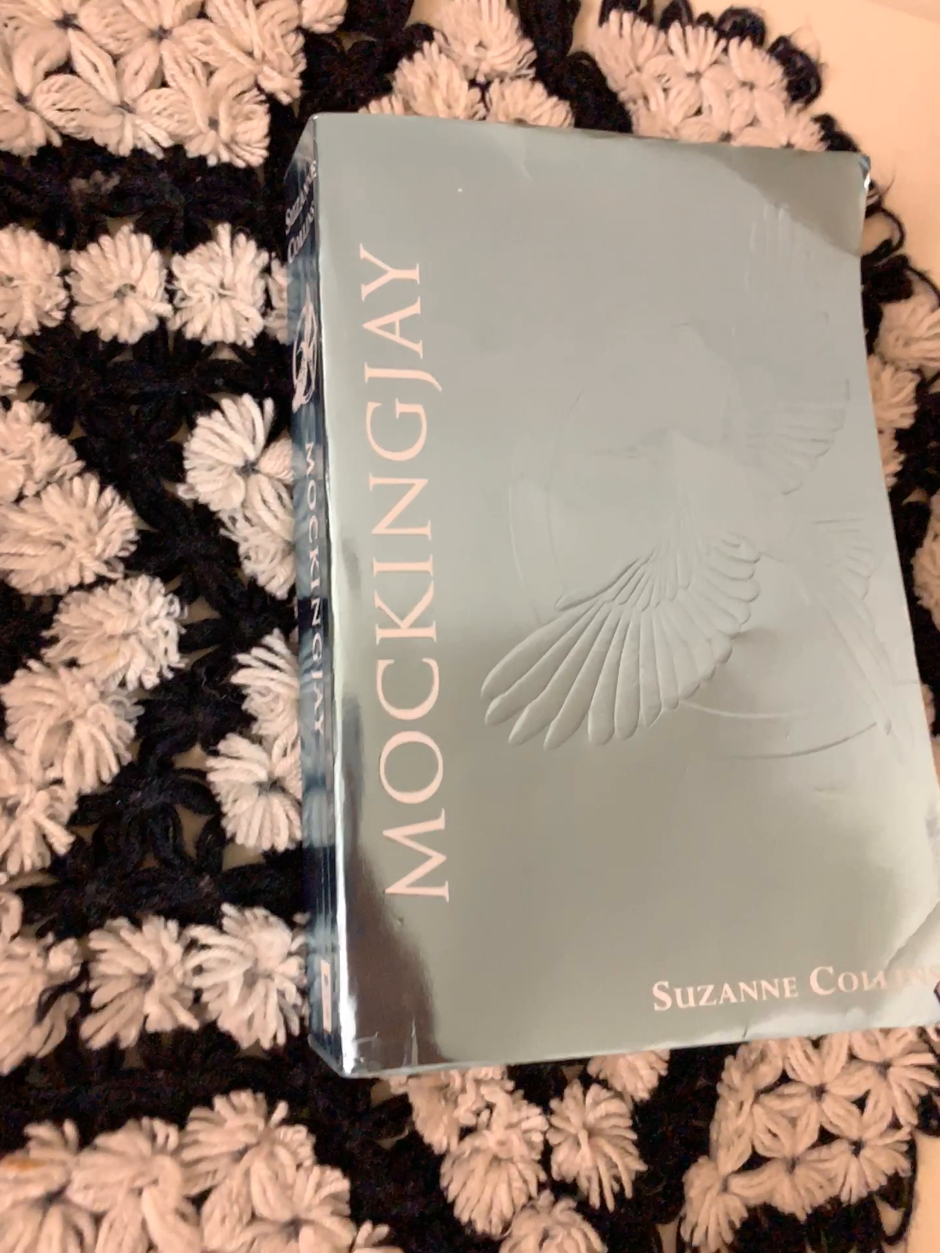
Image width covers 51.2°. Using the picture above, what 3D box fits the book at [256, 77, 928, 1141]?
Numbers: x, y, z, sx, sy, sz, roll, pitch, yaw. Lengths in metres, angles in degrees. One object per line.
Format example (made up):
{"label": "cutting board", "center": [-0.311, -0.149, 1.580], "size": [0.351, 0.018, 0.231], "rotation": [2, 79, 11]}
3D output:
{"label": "book", "center": [0.025, -0.007, 0.216], "size": [0.136, 0.036, 0.193], "rotation": [1, 82, -21]}
